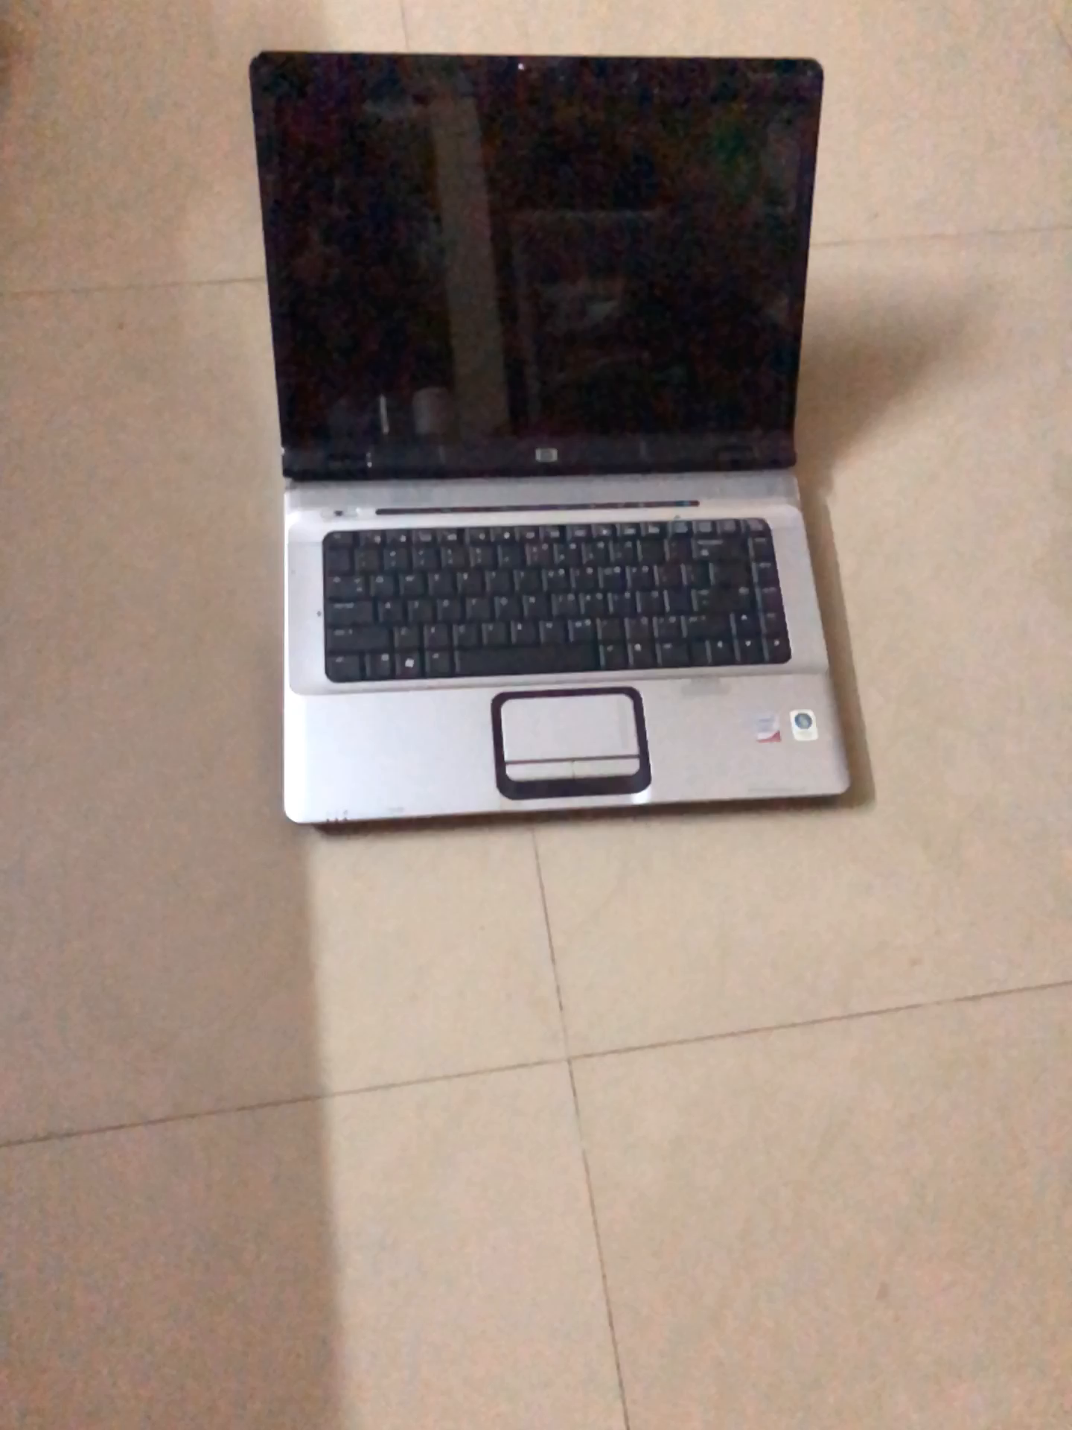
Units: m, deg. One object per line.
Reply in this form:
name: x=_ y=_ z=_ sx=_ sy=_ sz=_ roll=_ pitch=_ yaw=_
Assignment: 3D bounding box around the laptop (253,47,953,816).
laptop: x=0.016 y=-0.172 z=0.709 sx=0.338 sy=0.167 sz=0.410 roll=-2 pitch=69 yaw=-6
